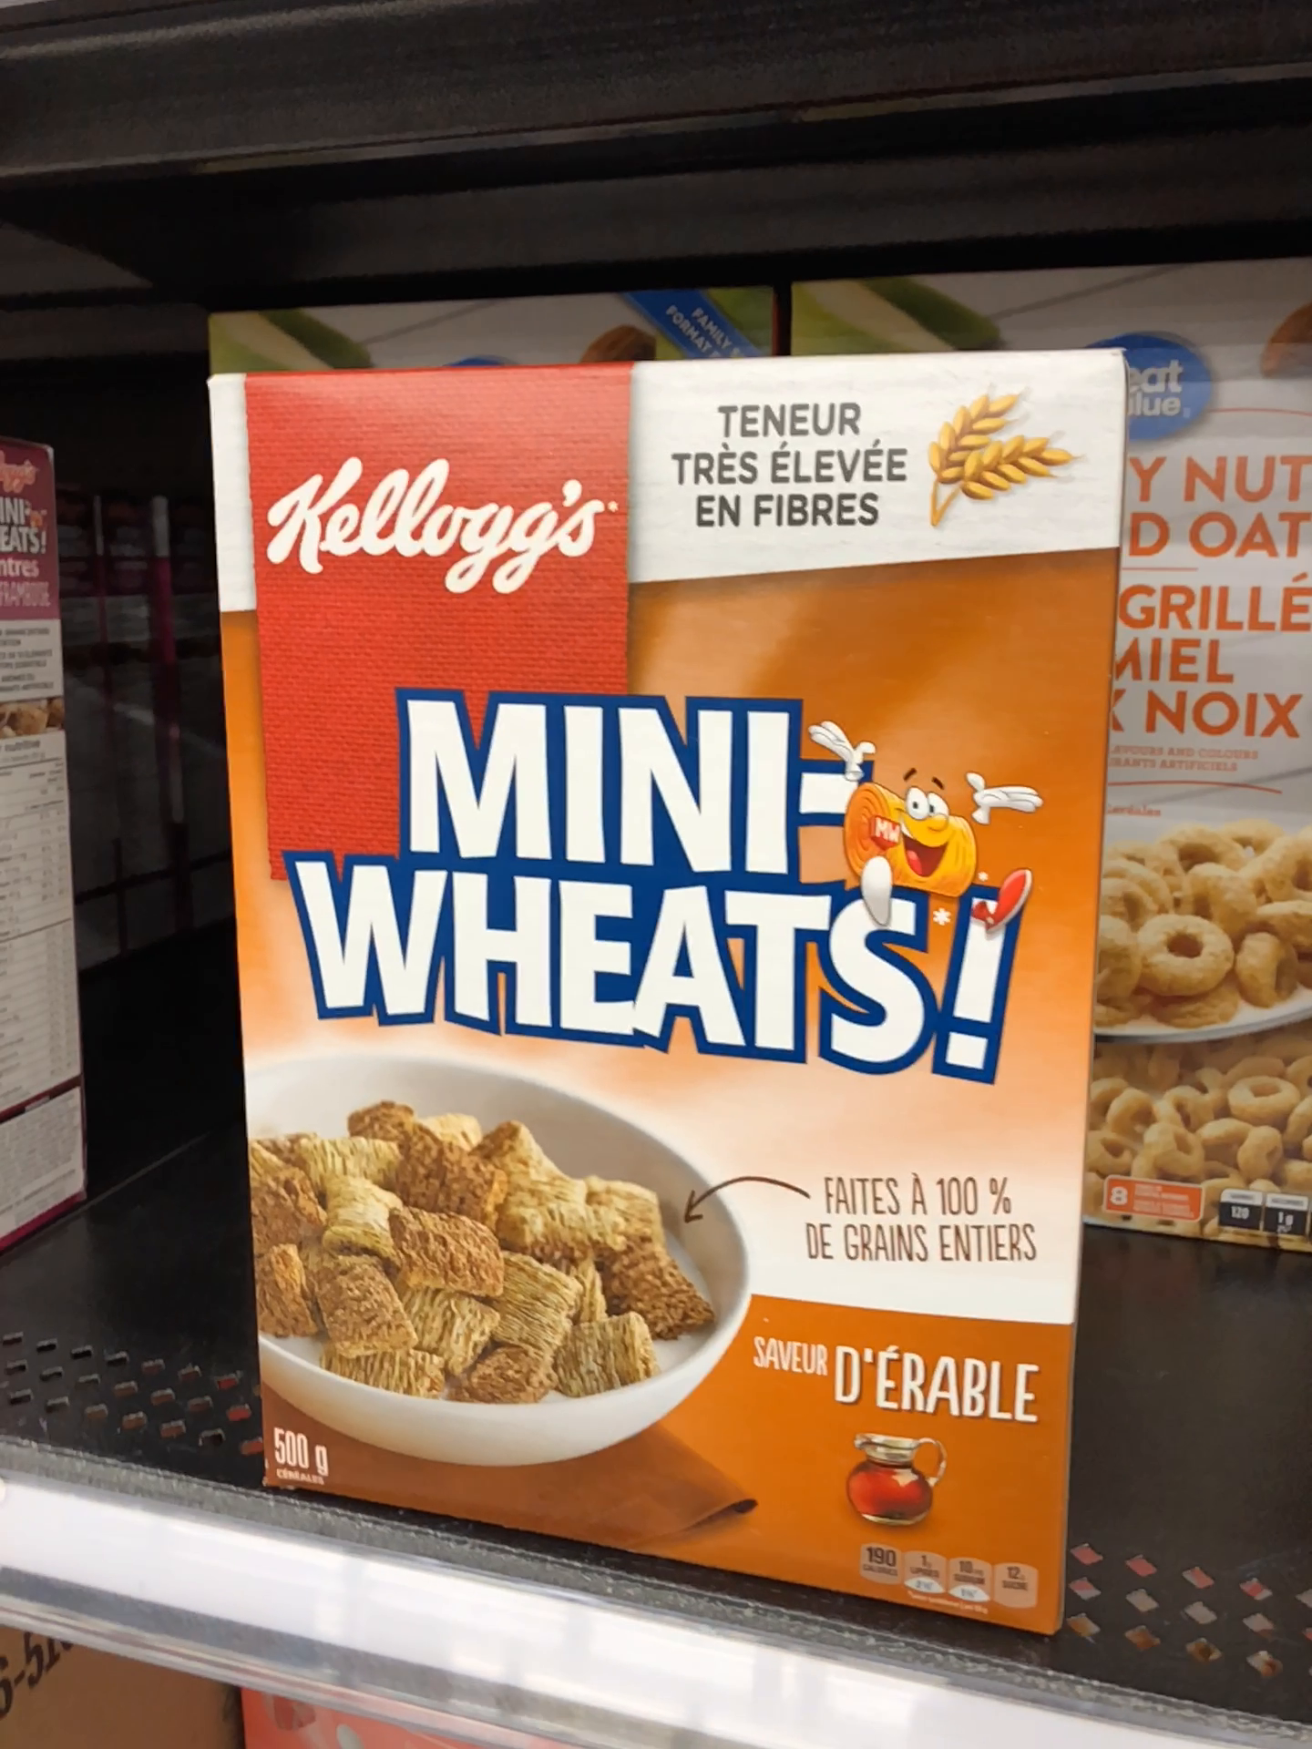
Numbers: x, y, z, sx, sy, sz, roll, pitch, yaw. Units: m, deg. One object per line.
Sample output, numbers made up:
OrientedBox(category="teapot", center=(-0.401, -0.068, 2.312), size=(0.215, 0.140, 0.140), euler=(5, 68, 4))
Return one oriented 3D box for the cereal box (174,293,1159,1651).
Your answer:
OrientedBox(category="cereal box", center=(0.002, 0.019, 0.336), size=(0.200, 0.269, 0.060), euler=(3, 12, 17))
